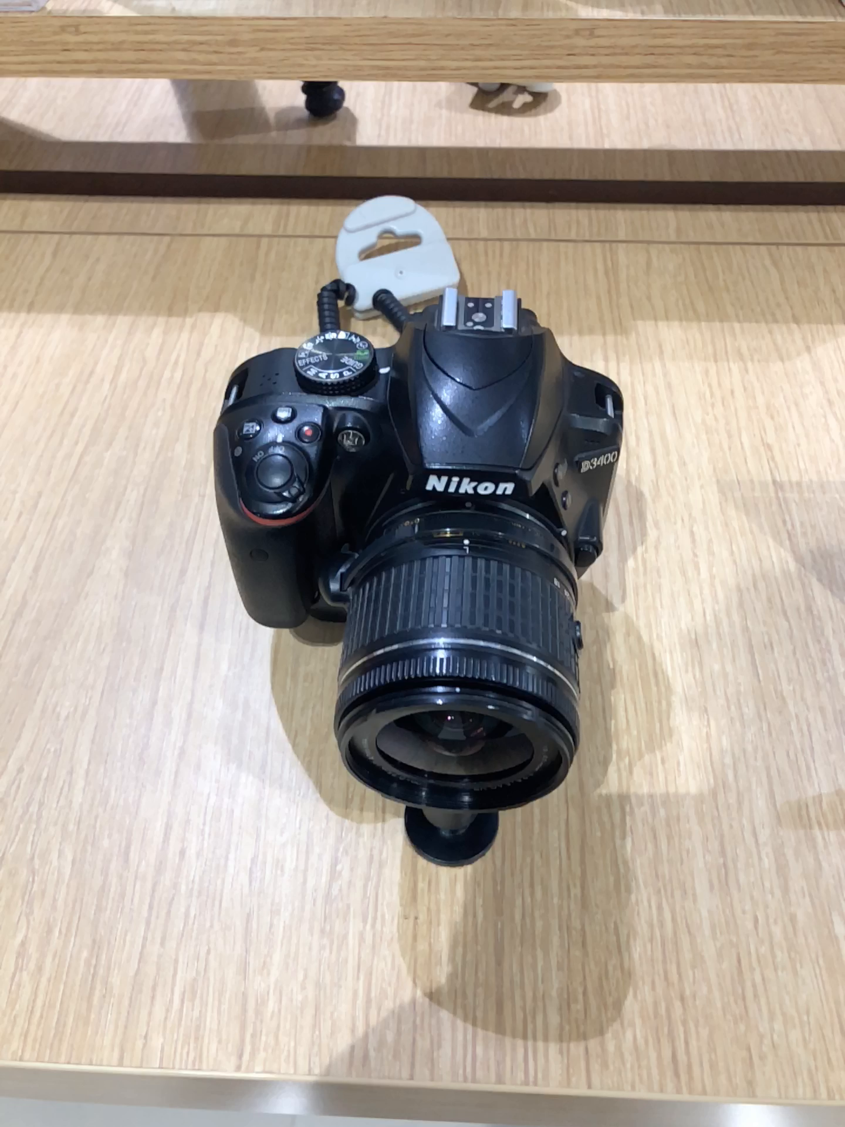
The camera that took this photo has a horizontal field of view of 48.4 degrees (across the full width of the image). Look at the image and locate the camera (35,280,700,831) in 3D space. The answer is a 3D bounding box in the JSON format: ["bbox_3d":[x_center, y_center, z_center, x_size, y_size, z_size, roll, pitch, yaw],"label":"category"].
[{"bbox_3d":[-0.009,-0.004,0.257,0.133,0.084,0.121,2,52,2],"label":"camera"}]
